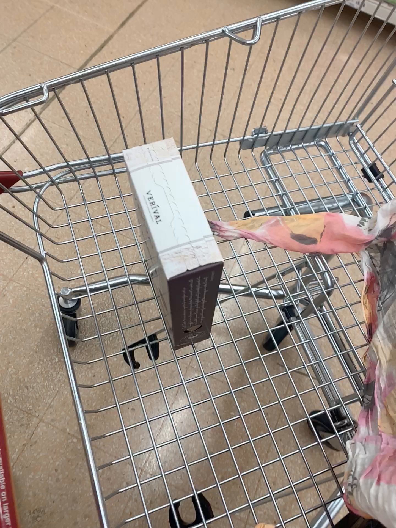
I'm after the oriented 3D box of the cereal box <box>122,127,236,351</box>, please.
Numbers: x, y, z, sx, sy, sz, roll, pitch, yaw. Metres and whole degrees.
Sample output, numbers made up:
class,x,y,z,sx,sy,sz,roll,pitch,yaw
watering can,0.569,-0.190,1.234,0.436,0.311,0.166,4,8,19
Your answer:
class,x,y,z,sx,sy,sz,roll,pitch,yaw
cereal box,-0.022,-0.007,0.422,0.050,0.219,0.141,-17,68,-9
